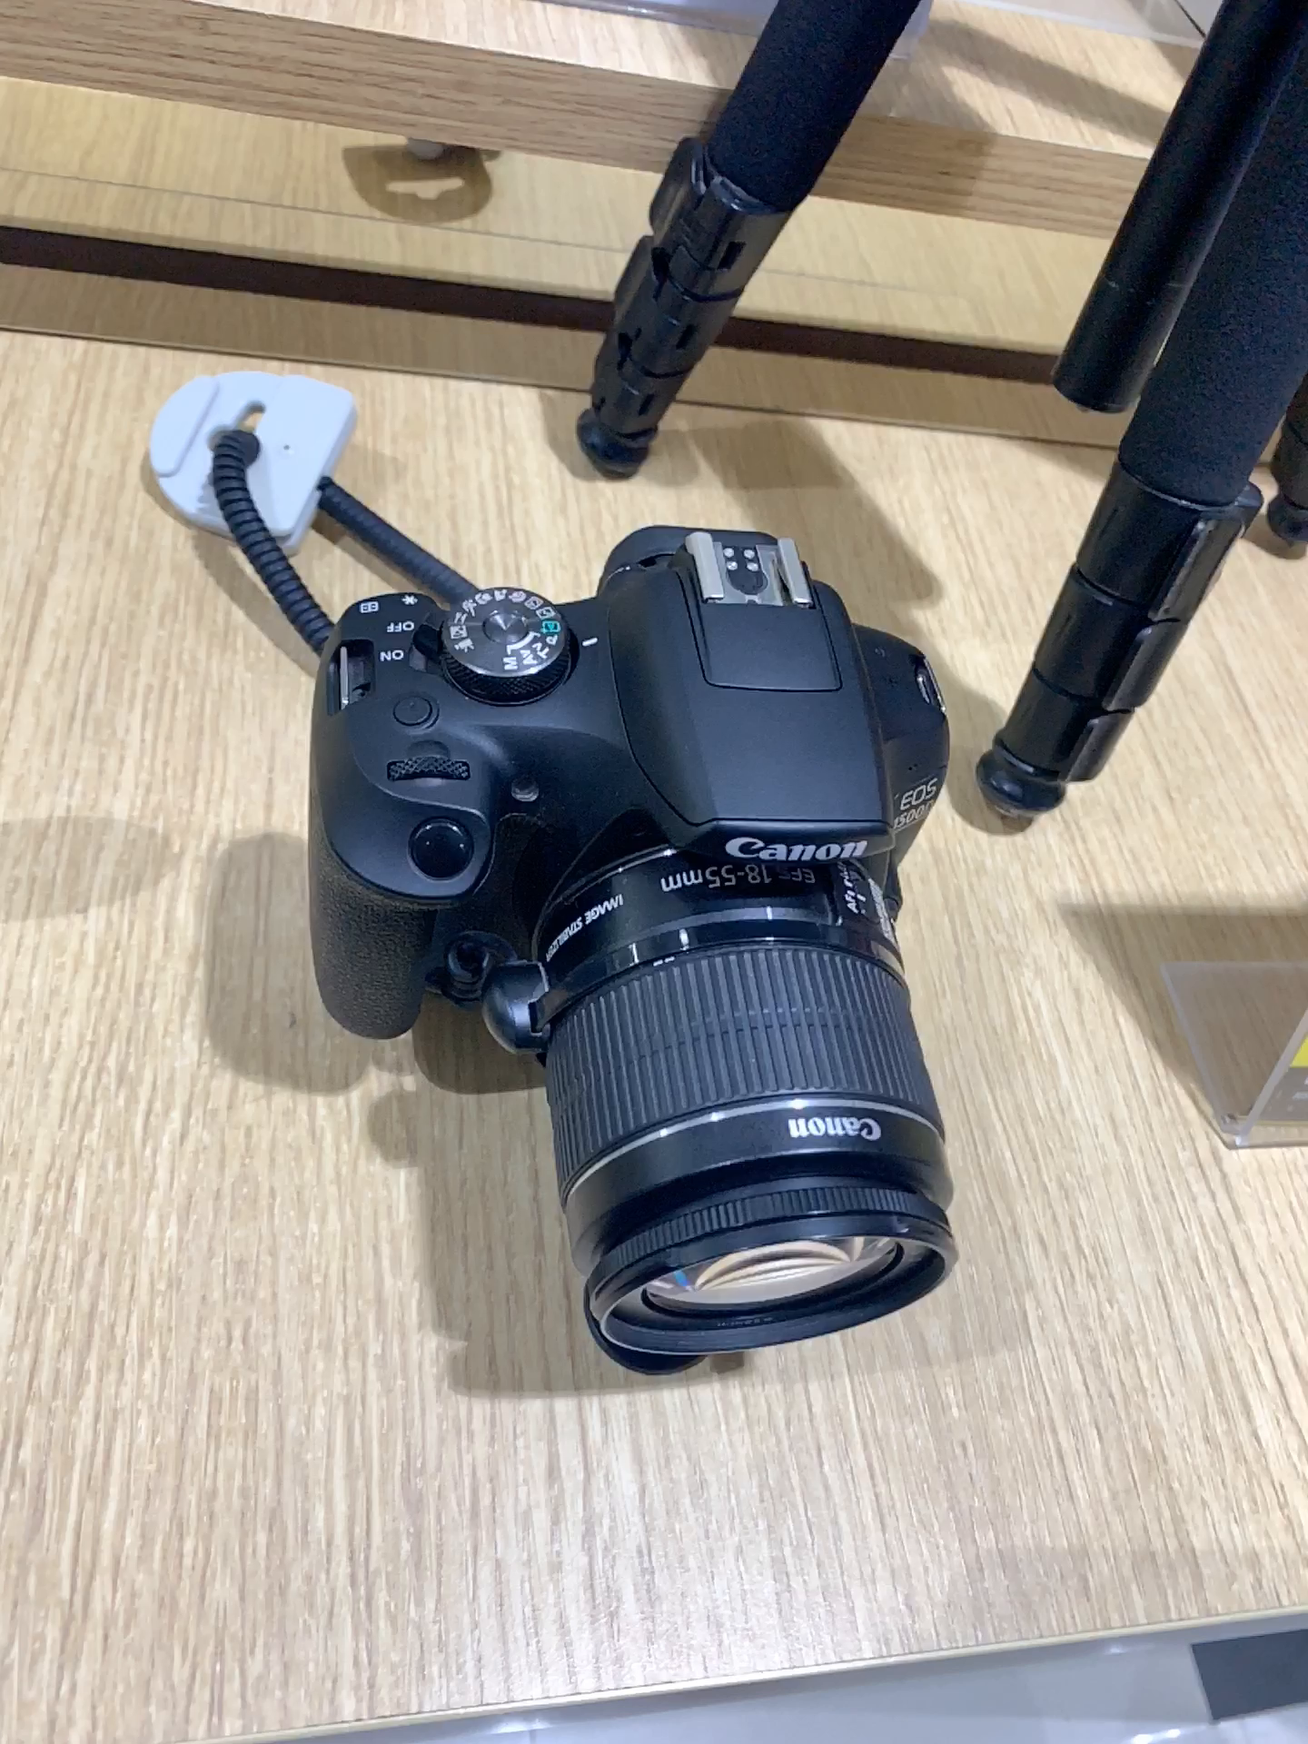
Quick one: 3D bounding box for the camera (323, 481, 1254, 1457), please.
[{"bbox_3d":[0.004,0.014,0.246,0.121,0.088,0.140,-1,54,-15],"label":"camera"}]
